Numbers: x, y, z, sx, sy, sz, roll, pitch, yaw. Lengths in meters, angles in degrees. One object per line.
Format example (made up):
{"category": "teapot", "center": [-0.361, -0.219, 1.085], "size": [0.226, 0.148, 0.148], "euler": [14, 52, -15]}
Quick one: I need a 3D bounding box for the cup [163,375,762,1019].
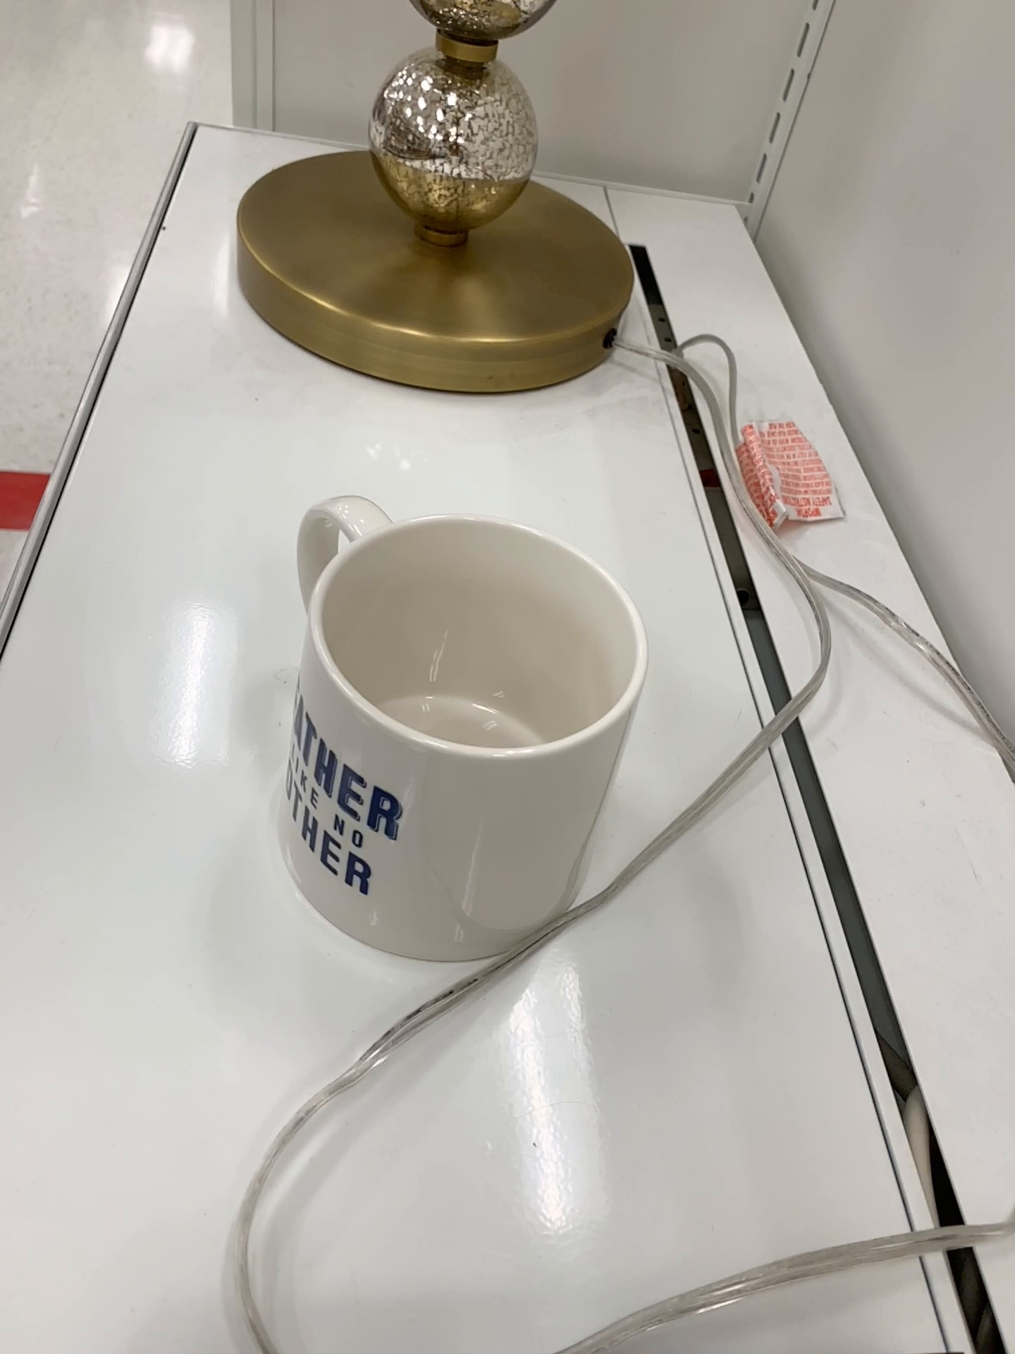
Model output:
{"category": "cup", "center": [-0.027, -0.001, 0.369], "size": [0.120, 0.119, 0.160], "euler": [-22, 55, -29]}
